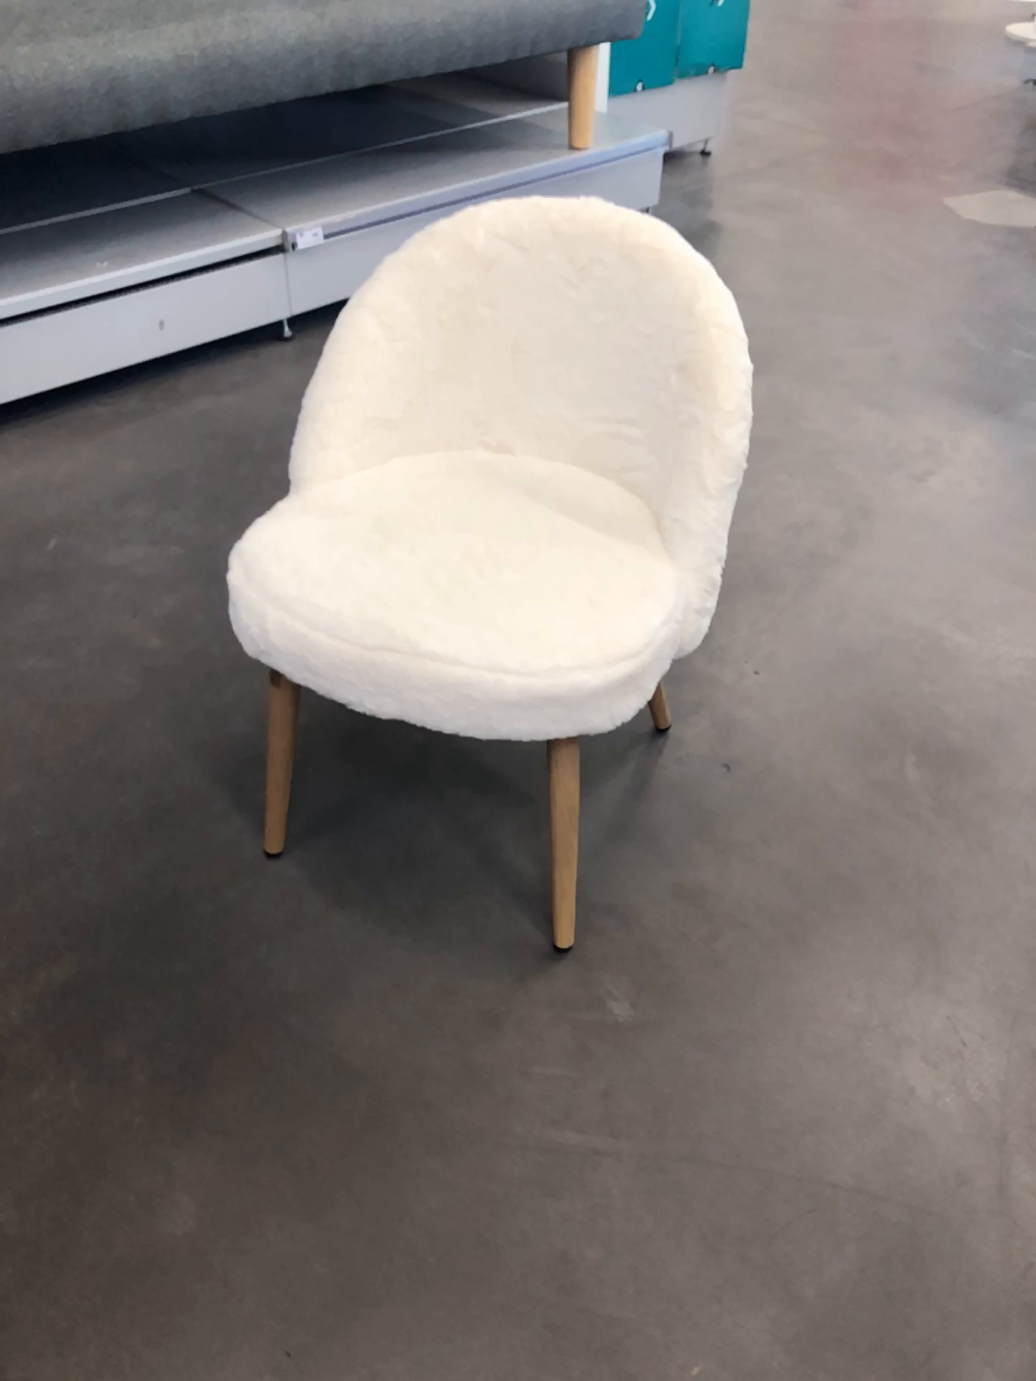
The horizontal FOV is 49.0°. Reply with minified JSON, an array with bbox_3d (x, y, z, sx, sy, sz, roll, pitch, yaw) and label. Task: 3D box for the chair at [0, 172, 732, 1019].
[{"bbox_3d":[-0.089,-0.109,1.045,0.410,0.537,0.473,14,41,15],"label":"chair"}]
